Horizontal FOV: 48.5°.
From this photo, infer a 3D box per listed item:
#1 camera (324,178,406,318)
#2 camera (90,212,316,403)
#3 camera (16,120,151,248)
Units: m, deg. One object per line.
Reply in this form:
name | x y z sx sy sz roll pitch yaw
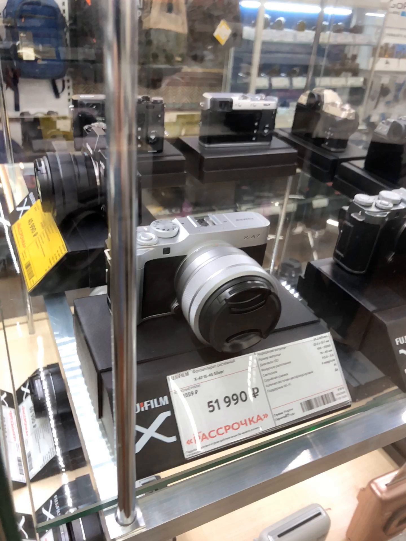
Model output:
camera | 0.197 -0.027 0.417 0.115 0.080 0.096 -9 34 -24
camera | -0.006 0.018 0.317 0.126 0.080 0.085 -9 34 -23
camera | -0.119 -0.091 0.440 0.097 0.080 0.115 -10 35 -25
